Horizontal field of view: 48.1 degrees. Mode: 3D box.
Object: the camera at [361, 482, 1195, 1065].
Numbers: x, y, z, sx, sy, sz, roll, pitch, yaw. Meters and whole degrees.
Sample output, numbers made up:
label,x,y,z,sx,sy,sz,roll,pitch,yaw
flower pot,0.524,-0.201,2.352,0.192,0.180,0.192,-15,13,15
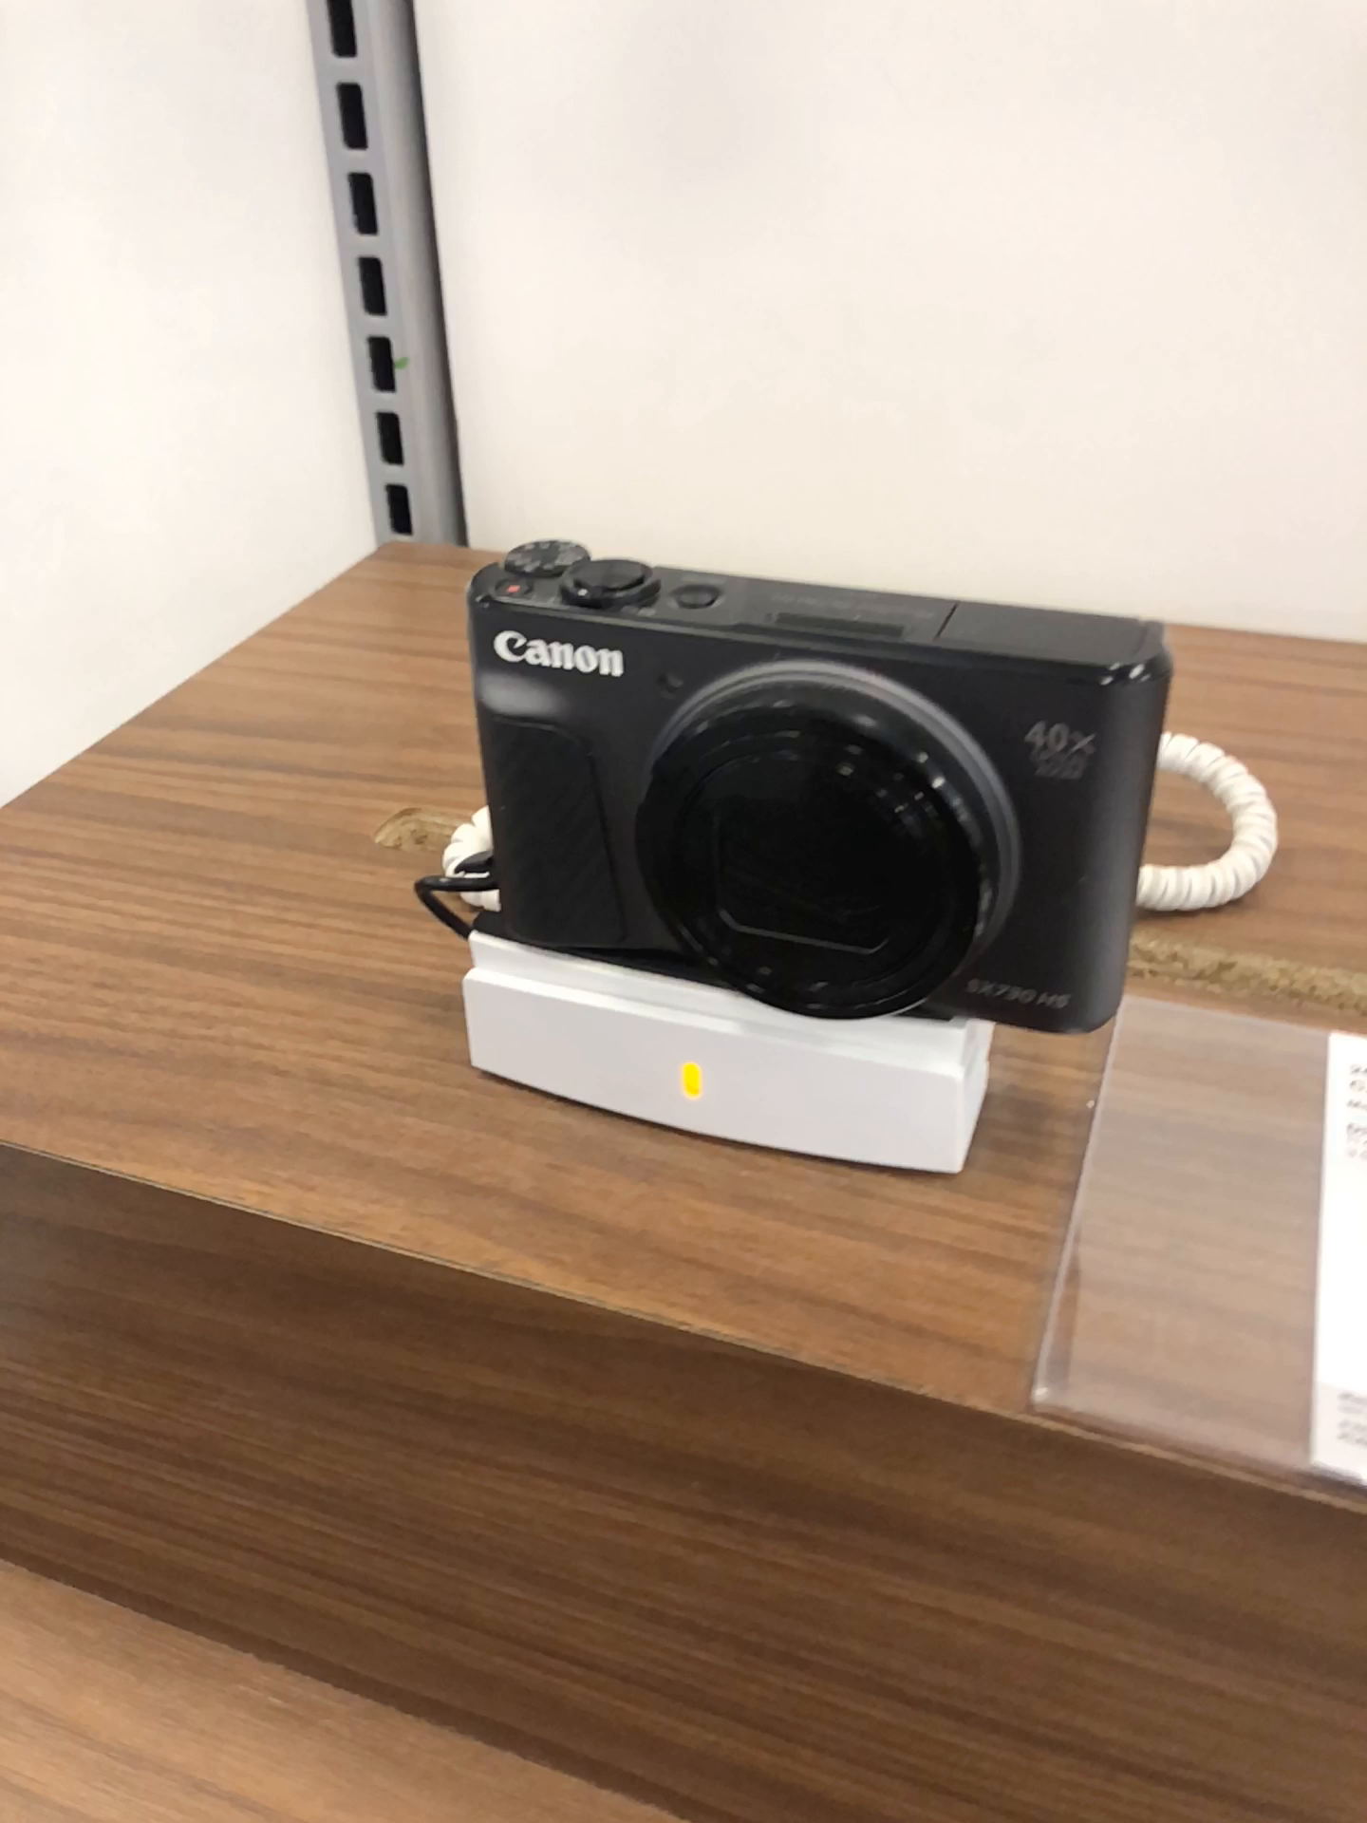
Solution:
label,x,y,z,sx,sy,sz,roll,pitch,yaw
camera,0.013,-0.025,0.245,0.120,0.070,0.030,11,34,19
